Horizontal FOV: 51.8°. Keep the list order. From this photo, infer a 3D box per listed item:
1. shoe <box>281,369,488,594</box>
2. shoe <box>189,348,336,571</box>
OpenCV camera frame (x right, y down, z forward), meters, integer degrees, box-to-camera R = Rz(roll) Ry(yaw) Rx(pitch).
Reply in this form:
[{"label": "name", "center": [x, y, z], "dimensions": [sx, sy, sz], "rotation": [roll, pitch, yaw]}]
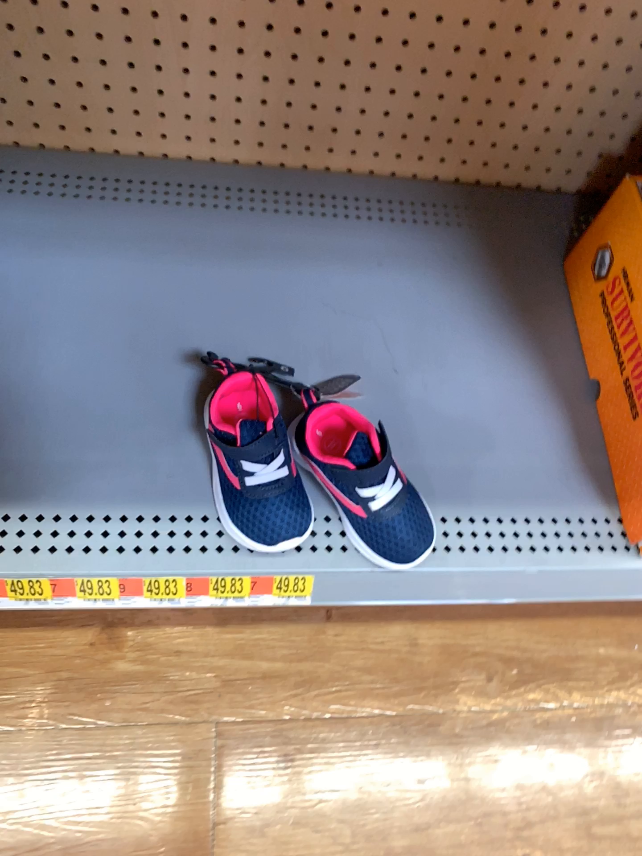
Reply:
[{"label": "shoe", "center": [0.044, 0.041, 0.512], "dimensions": [0.073, 0.064, 0.146], "rotation": [-31, 72, -22]}, {"label": "shoe", "center": [-0.049, 0.022, 0.506], "dimensions": [0.073, 0.064, 0.146], "rotation": [-11, 66, -15]}]
